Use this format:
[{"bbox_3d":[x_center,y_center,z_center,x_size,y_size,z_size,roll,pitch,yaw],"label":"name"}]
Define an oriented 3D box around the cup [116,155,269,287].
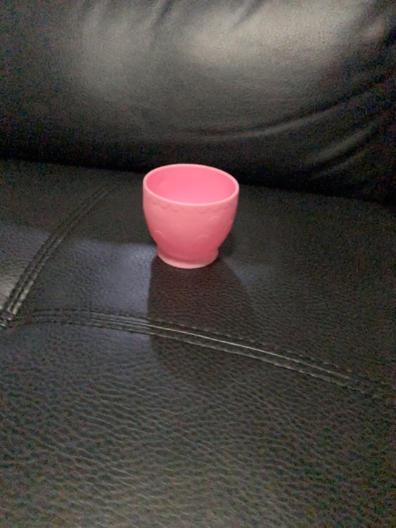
[{"bbox_3d":[-0.005,-0.033,0.270,0.061,0.045,0.078,-23,40,-32],"label":"cup"}]
